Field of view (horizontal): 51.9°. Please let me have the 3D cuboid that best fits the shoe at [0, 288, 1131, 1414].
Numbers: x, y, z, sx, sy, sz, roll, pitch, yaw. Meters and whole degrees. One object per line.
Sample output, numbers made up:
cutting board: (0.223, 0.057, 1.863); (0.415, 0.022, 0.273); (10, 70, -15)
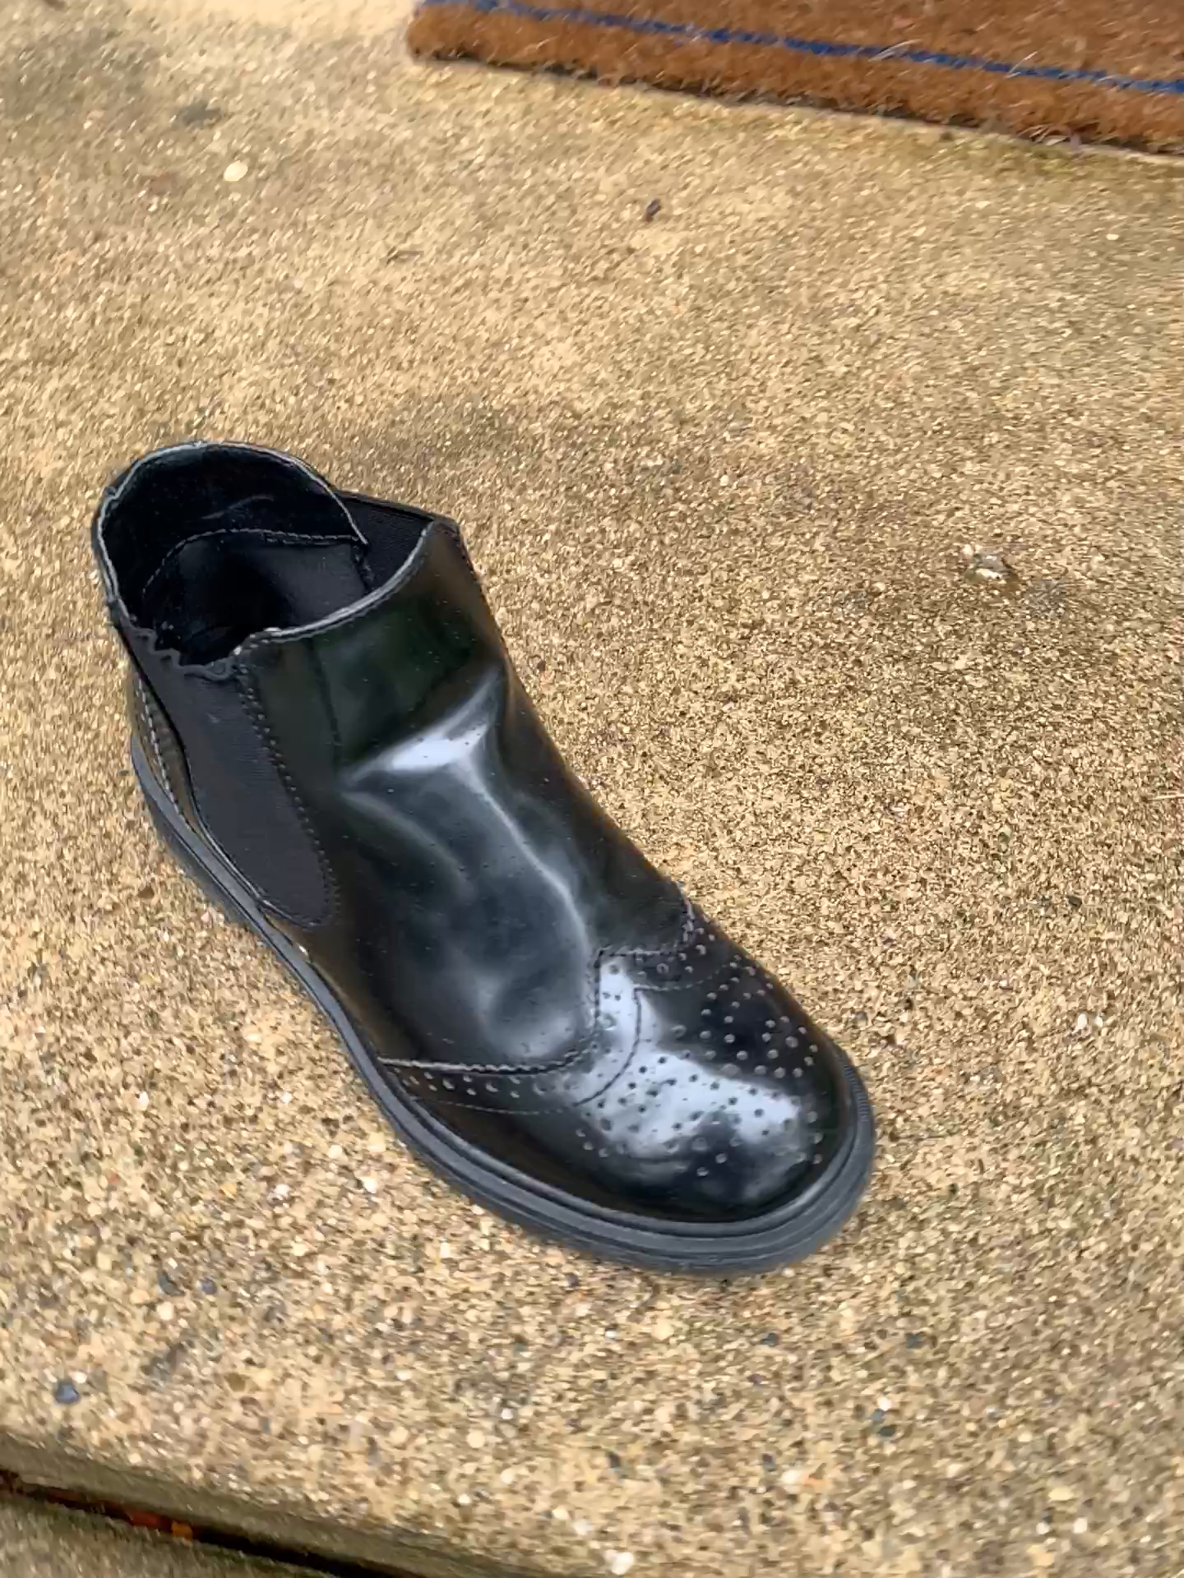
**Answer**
shoe: (-0.033, 0.009, 0.328); (0.267, 0.149, 0.118); (35, 60, 21)
